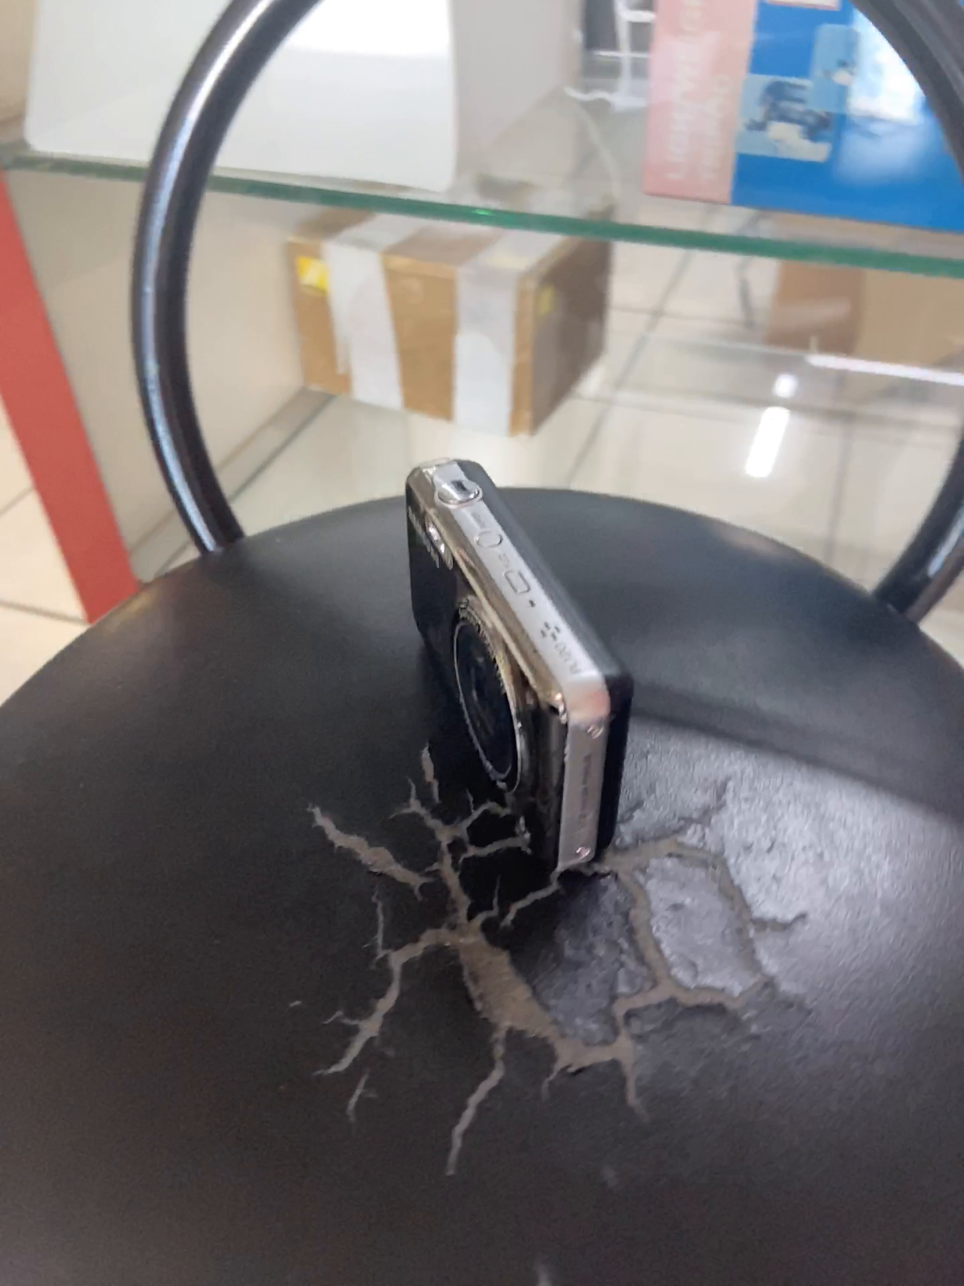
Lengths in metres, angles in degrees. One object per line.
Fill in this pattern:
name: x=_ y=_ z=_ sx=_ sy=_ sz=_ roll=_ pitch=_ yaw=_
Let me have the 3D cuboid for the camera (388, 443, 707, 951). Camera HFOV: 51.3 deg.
camera: x=0.009 y=0.007 z=0.229 sx=0.030 sy=0.060 sz=0.101 roll=-14 pitch=42 yaw=-14
